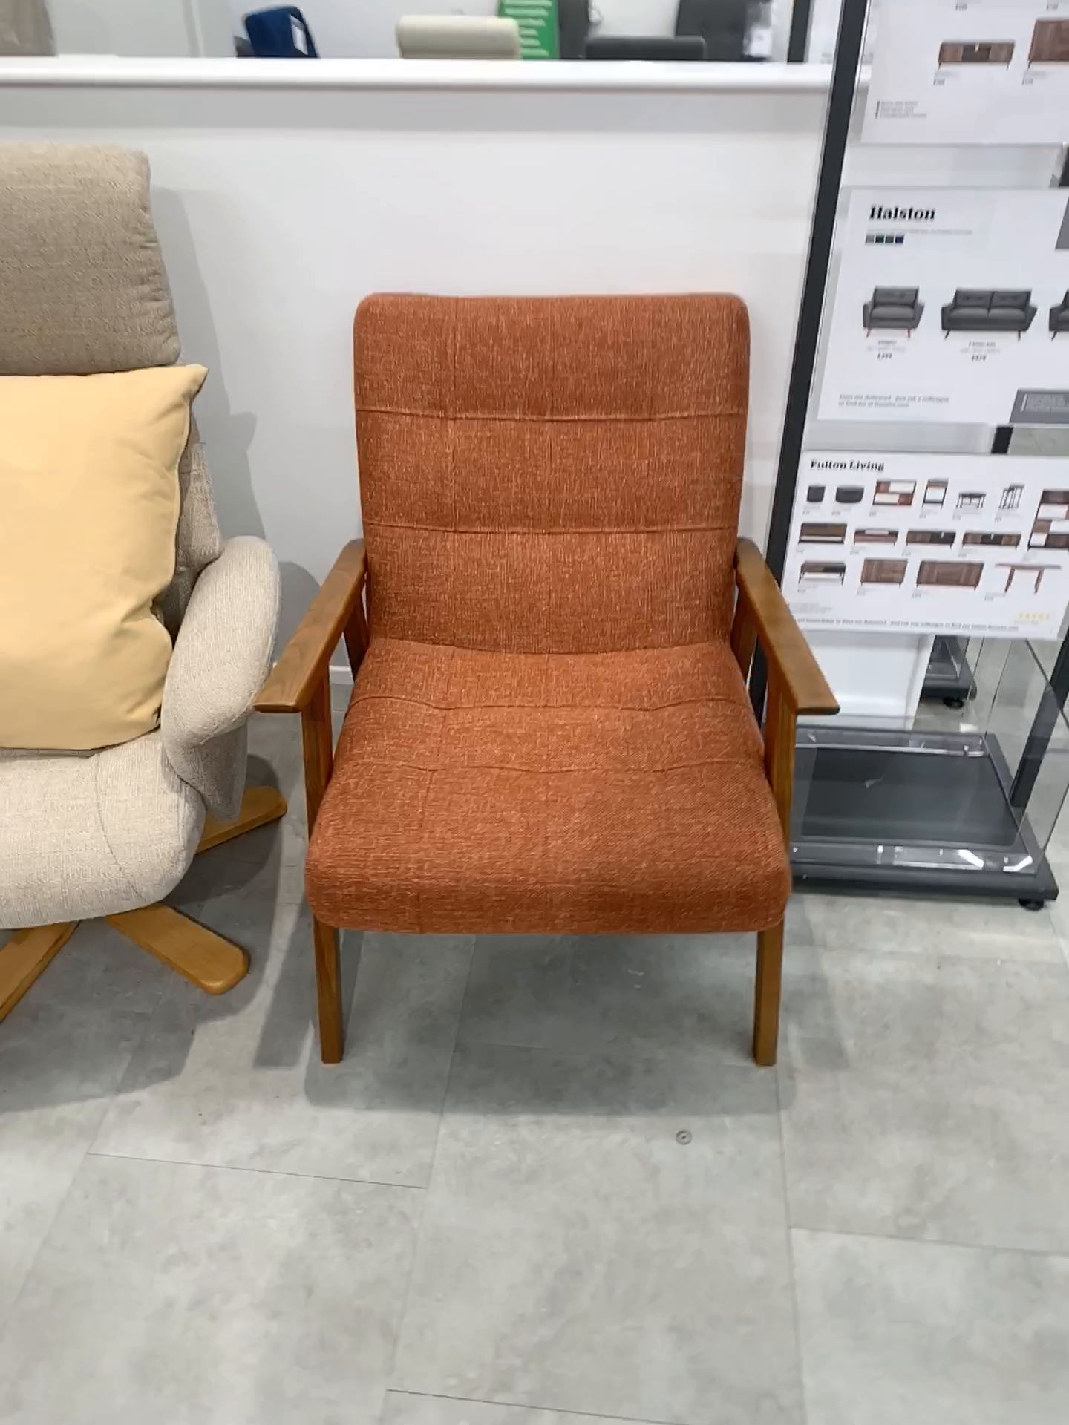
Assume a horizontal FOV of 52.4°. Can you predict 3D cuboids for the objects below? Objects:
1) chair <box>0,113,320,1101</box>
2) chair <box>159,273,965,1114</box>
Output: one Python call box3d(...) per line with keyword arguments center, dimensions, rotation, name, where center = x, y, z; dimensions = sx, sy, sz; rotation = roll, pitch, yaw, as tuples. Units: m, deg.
box3d(center=(-0.700, -0.142, 1.415), dimensions=(0.697, 1.013, 0.686), rotation=(-6, 37, -7), name="chair")
box3d(center=(0.032, -0.034, 1.470), dimensions=(0.687, 0.884, 0.706), rotation=(0, 37, 1), name="chair")
